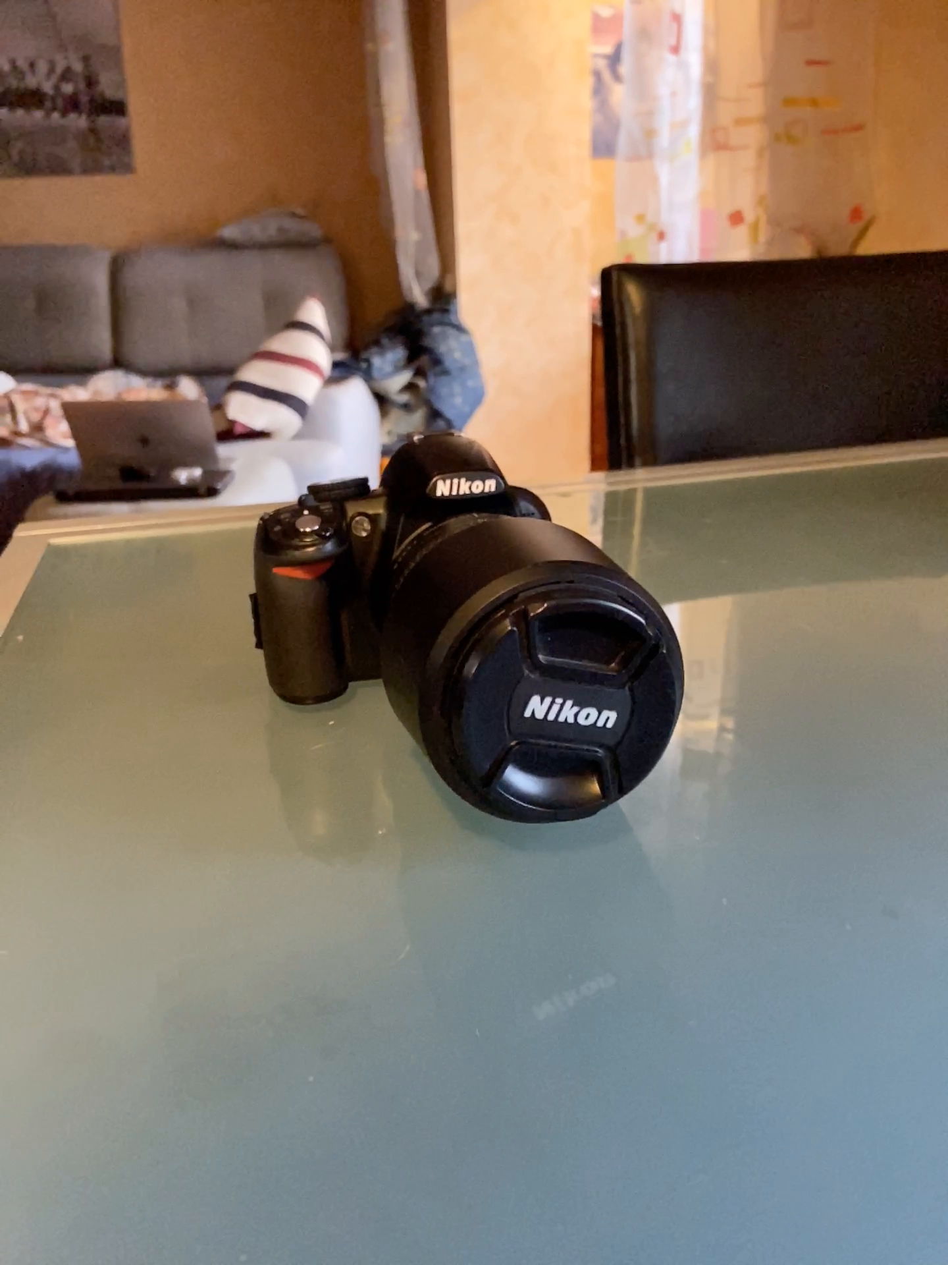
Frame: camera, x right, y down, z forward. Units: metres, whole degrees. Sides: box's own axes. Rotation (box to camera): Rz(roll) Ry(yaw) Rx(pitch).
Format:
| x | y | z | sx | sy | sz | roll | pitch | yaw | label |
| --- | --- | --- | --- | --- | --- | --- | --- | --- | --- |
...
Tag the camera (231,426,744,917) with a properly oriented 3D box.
| x | y | z | sx | sy | sz | roll | pitch | yaw | label |
| --- | --- | --- | --- | --- | --- | --- | --- | --- | --- |
| -0.013 | -0.008 | 0.338 | 0.124 | 0.094 | 0.189 | -7 | 20 | -13 | camera |
